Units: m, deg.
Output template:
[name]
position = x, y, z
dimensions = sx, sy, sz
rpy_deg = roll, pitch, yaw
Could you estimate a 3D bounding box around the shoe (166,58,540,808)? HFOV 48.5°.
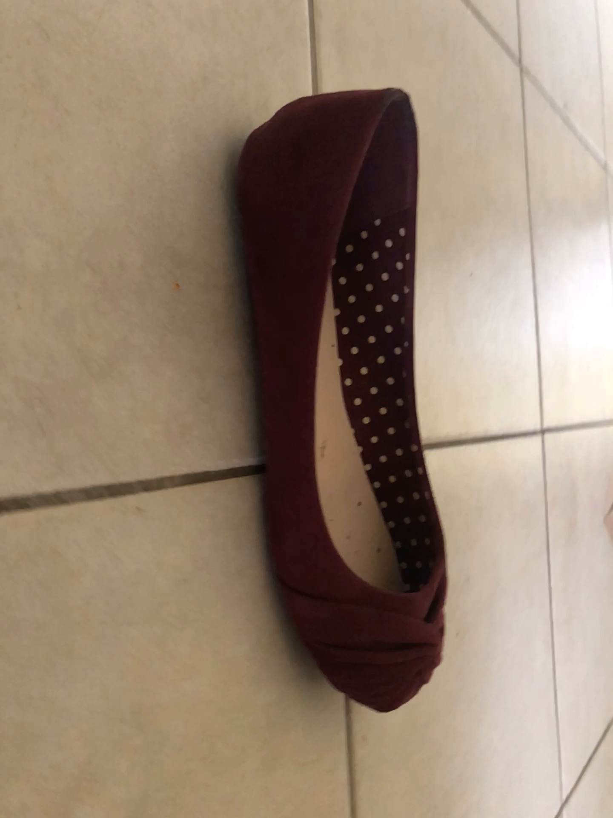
[shoe]
position = 0.025, 0.010, 0.277
dimensions = 0.082, 0.079, 0.250
rpy_deg = -19, 102, -49
